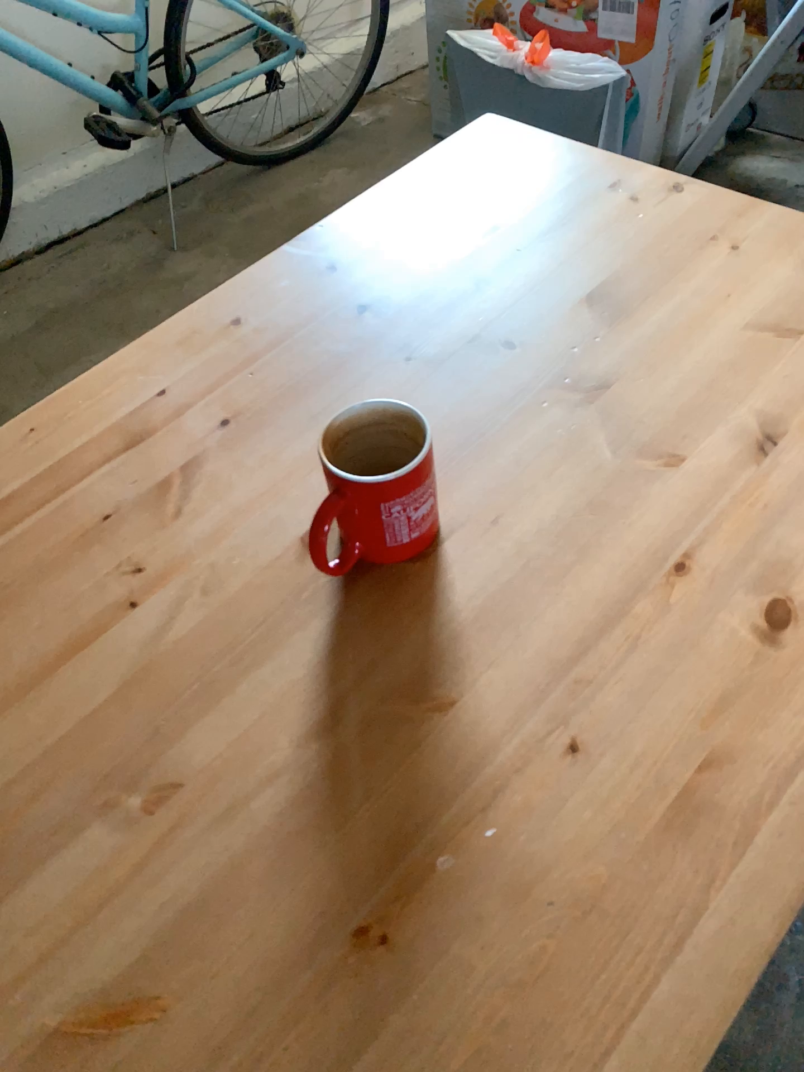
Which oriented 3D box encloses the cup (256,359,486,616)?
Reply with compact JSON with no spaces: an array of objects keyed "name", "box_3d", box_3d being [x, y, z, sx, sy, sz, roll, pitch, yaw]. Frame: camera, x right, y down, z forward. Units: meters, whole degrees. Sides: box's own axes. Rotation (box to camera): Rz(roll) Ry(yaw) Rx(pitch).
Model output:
[{"name":"cup","box_3d":[-0.016,-0.036,0.589,0.090,0.100,0.130,33,63,27]}]
